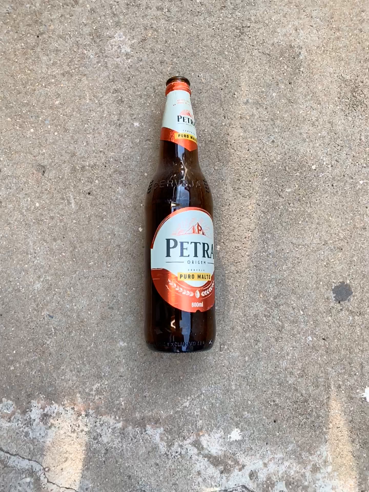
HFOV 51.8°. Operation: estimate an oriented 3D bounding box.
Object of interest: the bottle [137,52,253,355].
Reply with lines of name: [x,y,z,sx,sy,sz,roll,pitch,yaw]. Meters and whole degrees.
bottle: [0.007,-0.037,0.373,0.080,0.070,0.270,7,76,-32]
